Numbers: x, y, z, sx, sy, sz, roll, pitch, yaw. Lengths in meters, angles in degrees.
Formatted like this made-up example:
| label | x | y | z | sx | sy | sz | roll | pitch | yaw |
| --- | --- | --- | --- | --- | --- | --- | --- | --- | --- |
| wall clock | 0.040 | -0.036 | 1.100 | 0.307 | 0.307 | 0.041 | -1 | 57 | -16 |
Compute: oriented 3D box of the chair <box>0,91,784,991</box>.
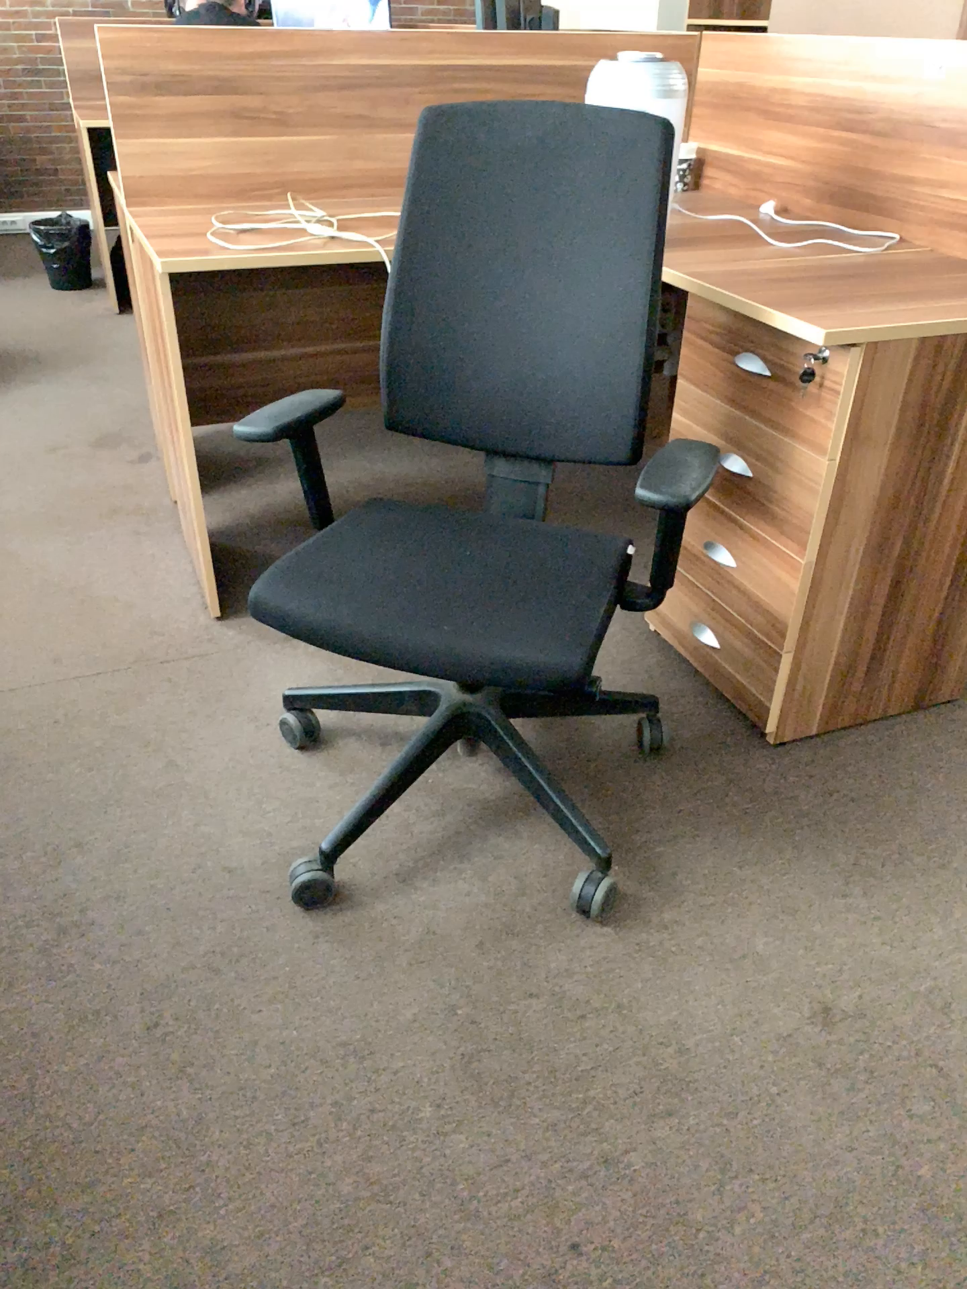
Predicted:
| label | x | y | z | sx | sy | sz | roll | pitch | yaw |
| --- | --- | --- | --- | --- | --- | --- | --- | --- | --- |
| chair | -0.036 | -0.223 | 1.386 | 0.670 | 0.915 | 0.794 | 11 | 33 | 16 |
